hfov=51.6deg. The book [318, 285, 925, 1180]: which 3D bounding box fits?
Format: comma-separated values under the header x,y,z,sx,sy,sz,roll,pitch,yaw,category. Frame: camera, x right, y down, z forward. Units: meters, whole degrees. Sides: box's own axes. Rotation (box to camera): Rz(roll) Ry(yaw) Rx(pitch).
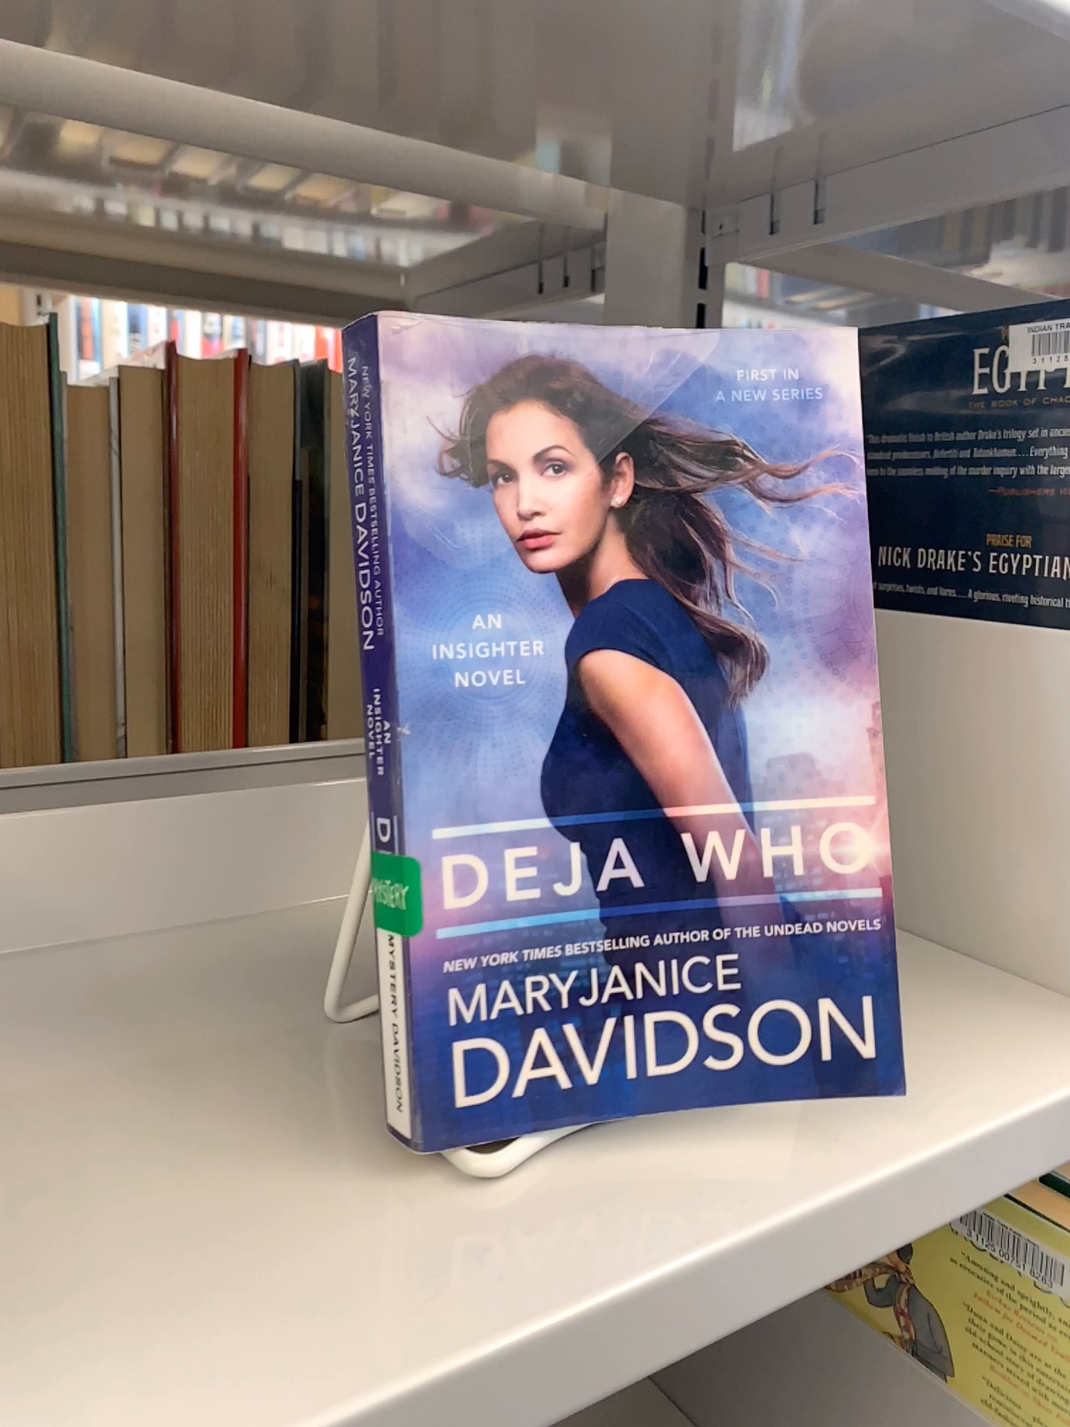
x,y,z,sx,sy,sz,roll,pitch,yaw,category
0.020,0.001,0.278,0.136,0.190,0.047,-2,-2,-18,book
